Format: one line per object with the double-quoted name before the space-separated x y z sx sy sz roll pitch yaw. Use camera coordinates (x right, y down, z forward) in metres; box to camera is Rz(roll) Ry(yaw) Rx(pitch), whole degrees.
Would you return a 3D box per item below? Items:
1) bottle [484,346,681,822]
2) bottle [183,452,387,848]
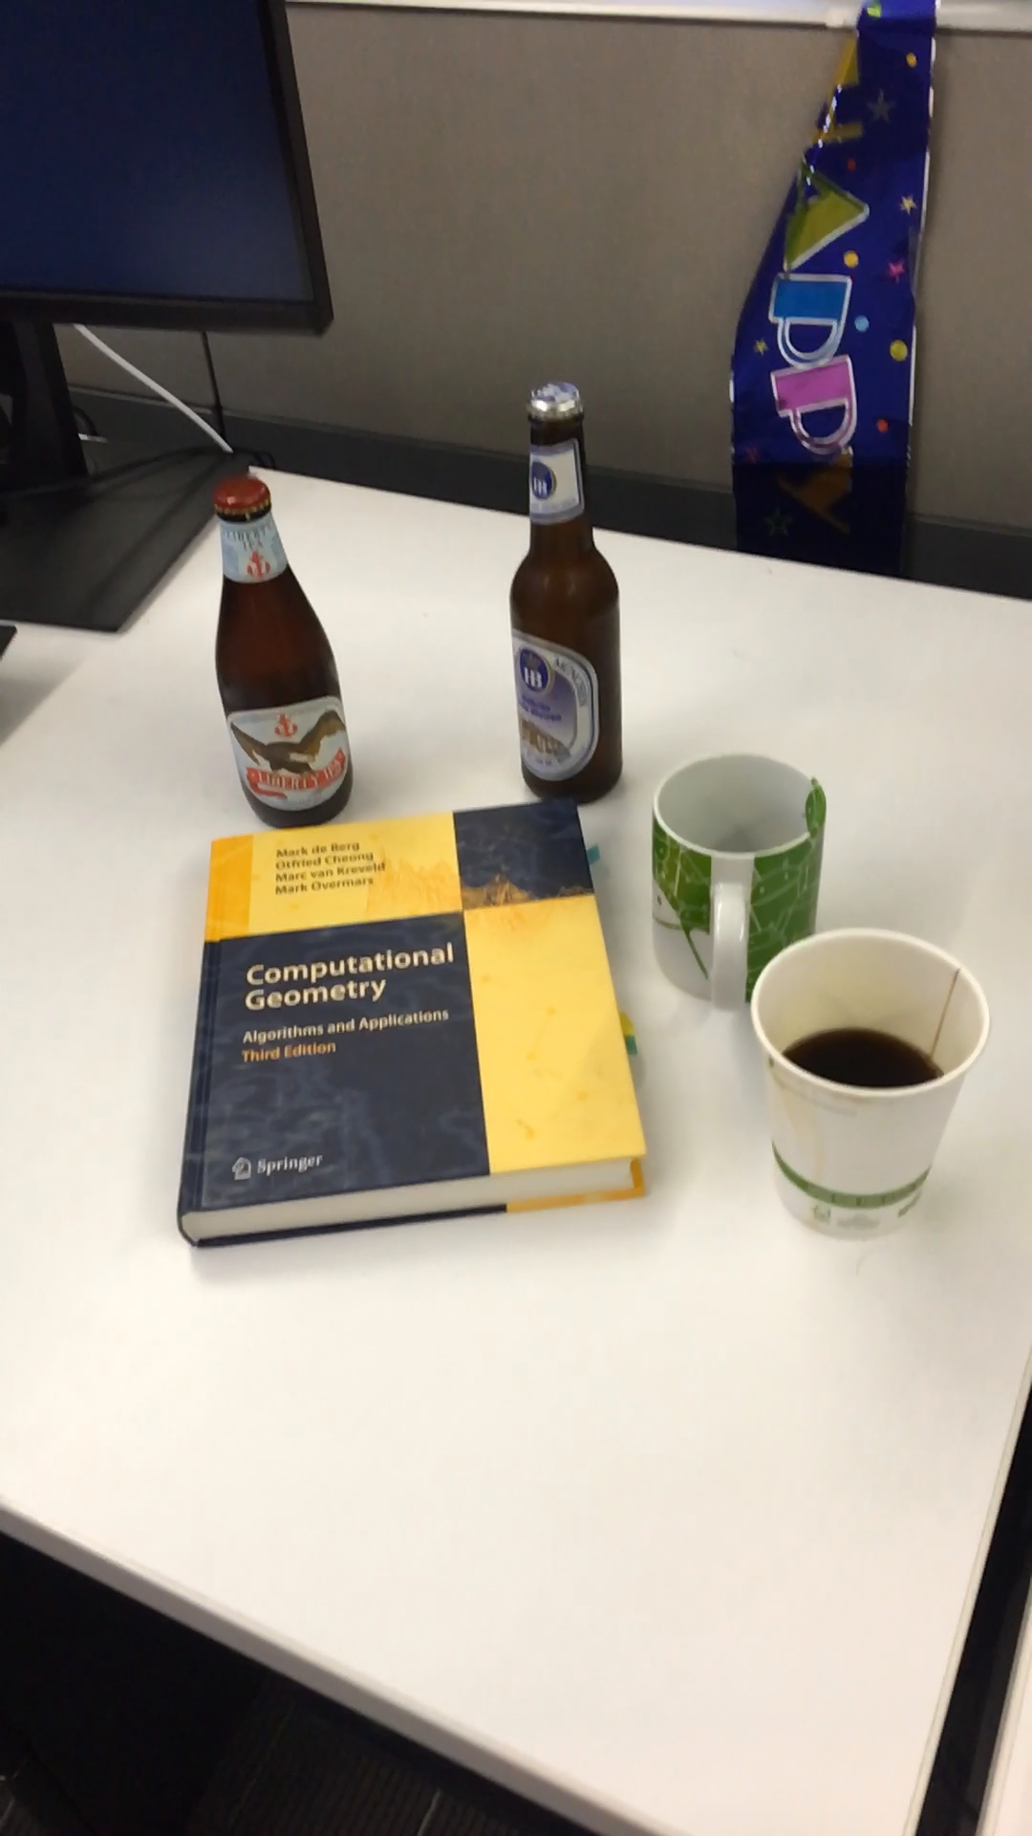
"bottle" 0.037 -0.163 0.774 0.060 0.220 0.070 27 51 30
"bottle" -0.115 -0.132 0.775 0.070 0.180 0.070 -3 43 2
